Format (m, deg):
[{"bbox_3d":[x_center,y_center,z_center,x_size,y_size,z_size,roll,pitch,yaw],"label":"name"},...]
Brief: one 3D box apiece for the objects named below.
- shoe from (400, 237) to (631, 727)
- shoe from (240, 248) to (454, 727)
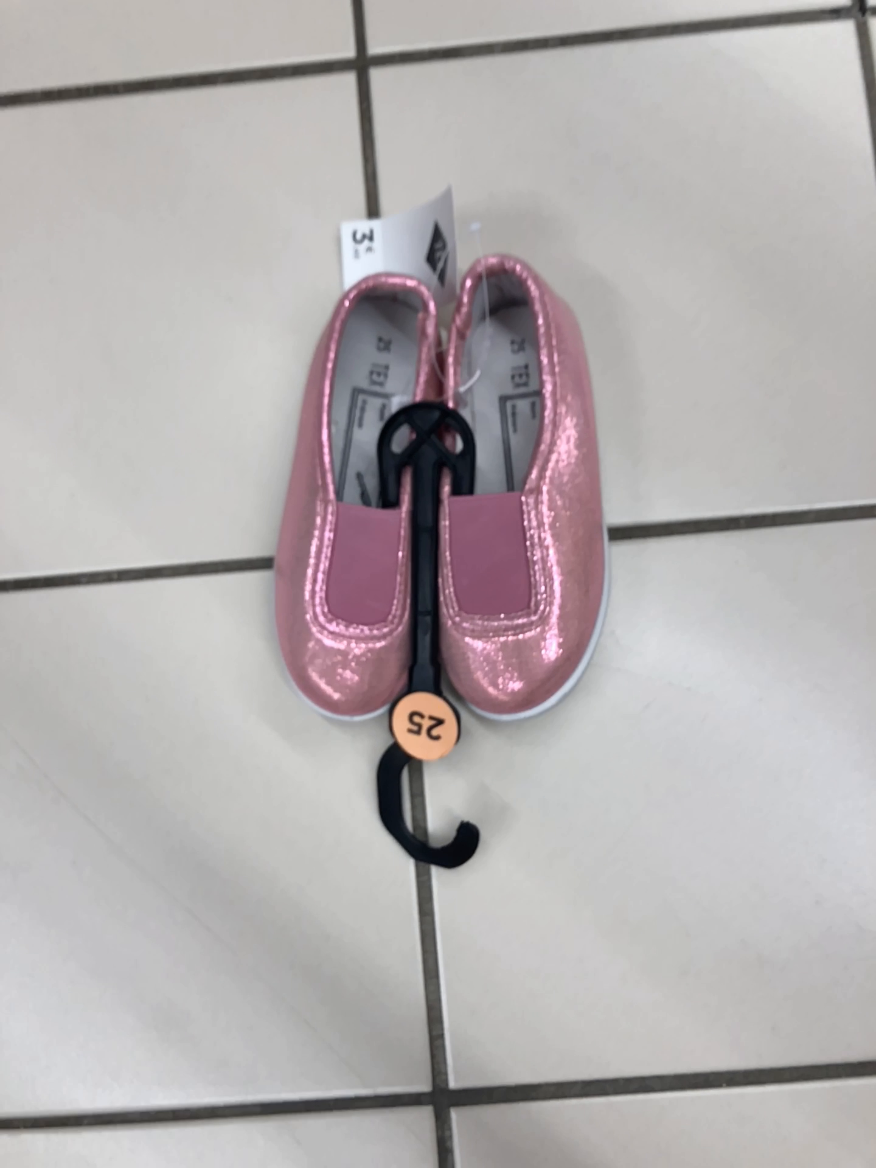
[{"bbox_3d":[0.026,-0.034,0.352,0.069,0.050,0.164,-3,84,2],"label":"shoe"},{"bbox_3d":[-0.030,-0.032,0.355,0.059,0.051,0.161,4,84,3],"label":"shoe"}]
